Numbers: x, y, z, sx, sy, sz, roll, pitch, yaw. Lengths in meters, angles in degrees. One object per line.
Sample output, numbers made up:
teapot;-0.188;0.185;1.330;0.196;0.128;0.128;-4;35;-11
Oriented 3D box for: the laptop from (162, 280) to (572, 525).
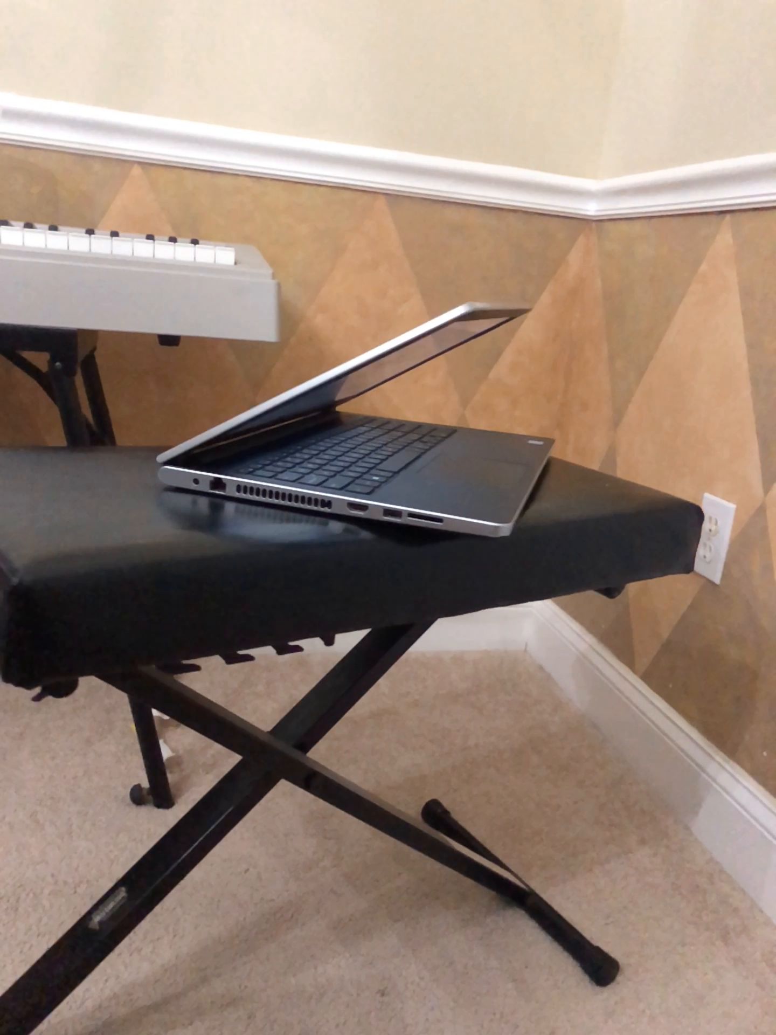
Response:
laptop;0.013;-0.127;0.774;0.261;0.137;0.377;10;16;13
